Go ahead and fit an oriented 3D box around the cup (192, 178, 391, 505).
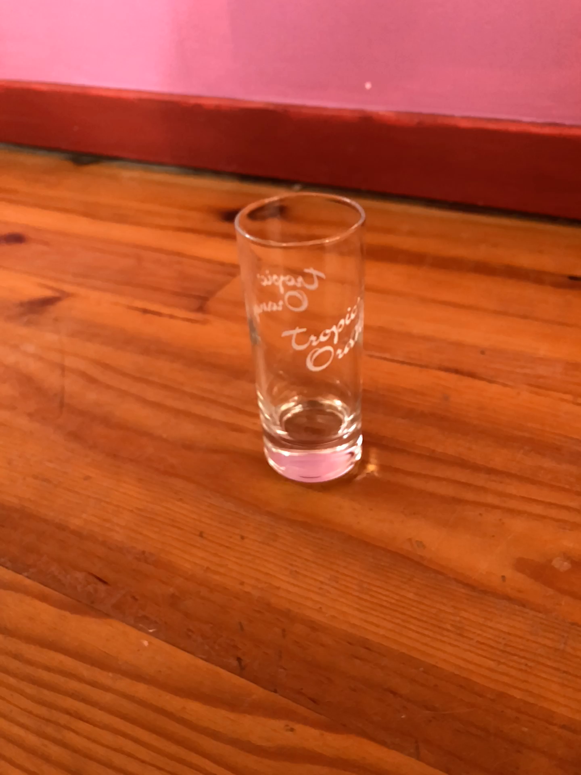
[{"bbox_3d":[0.005,-0.020,0.293,0.056,0.124,0.056,-3,35,2],"label":"cup"}]
